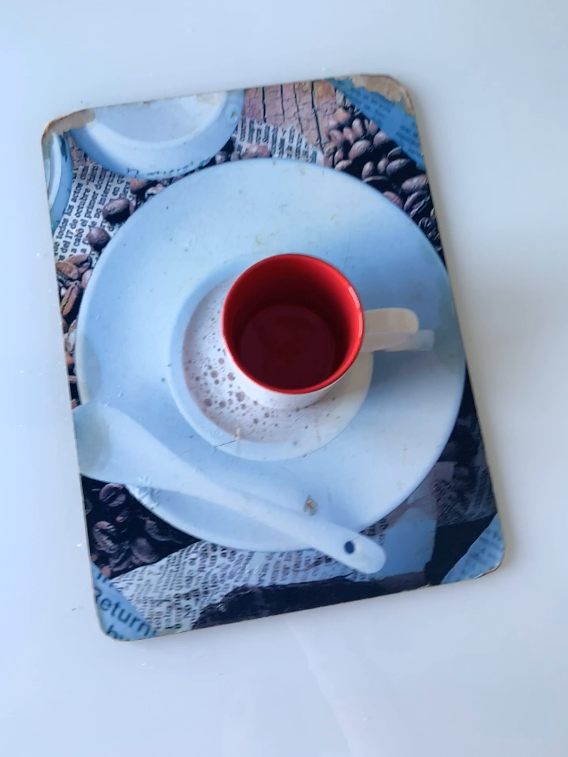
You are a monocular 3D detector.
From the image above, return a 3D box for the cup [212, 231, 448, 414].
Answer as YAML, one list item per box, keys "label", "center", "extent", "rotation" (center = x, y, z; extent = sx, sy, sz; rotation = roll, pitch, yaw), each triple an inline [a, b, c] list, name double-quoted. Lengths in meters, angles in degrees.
- label: "cup"
  center: [0.022, -0.028, 0.368]
  extent: [0.117, 0.115, 0.077]
  rotation: [-7, 82, -3]
